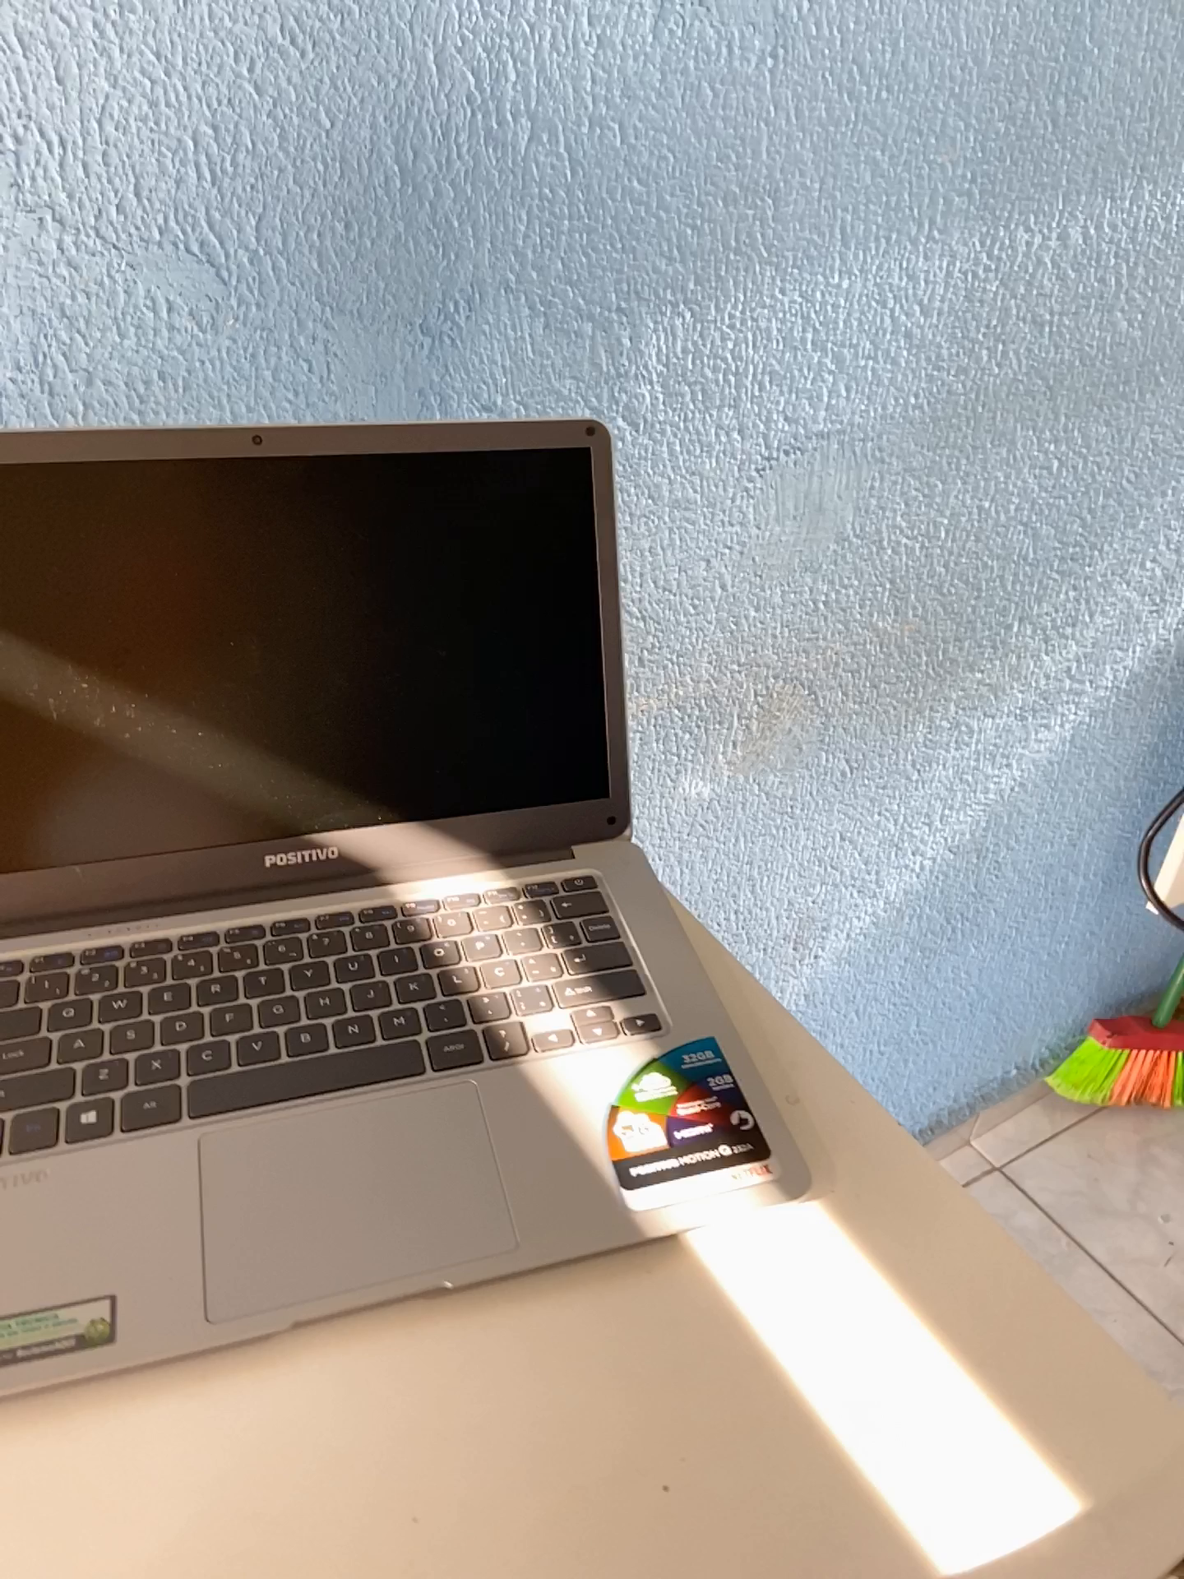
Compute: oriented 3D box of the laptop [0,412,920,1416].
[{"bbox_3d":[-0.115,0.001,0.478,0.333,0.189,0.312,-7,36,-17],"label":"laptop"}]
